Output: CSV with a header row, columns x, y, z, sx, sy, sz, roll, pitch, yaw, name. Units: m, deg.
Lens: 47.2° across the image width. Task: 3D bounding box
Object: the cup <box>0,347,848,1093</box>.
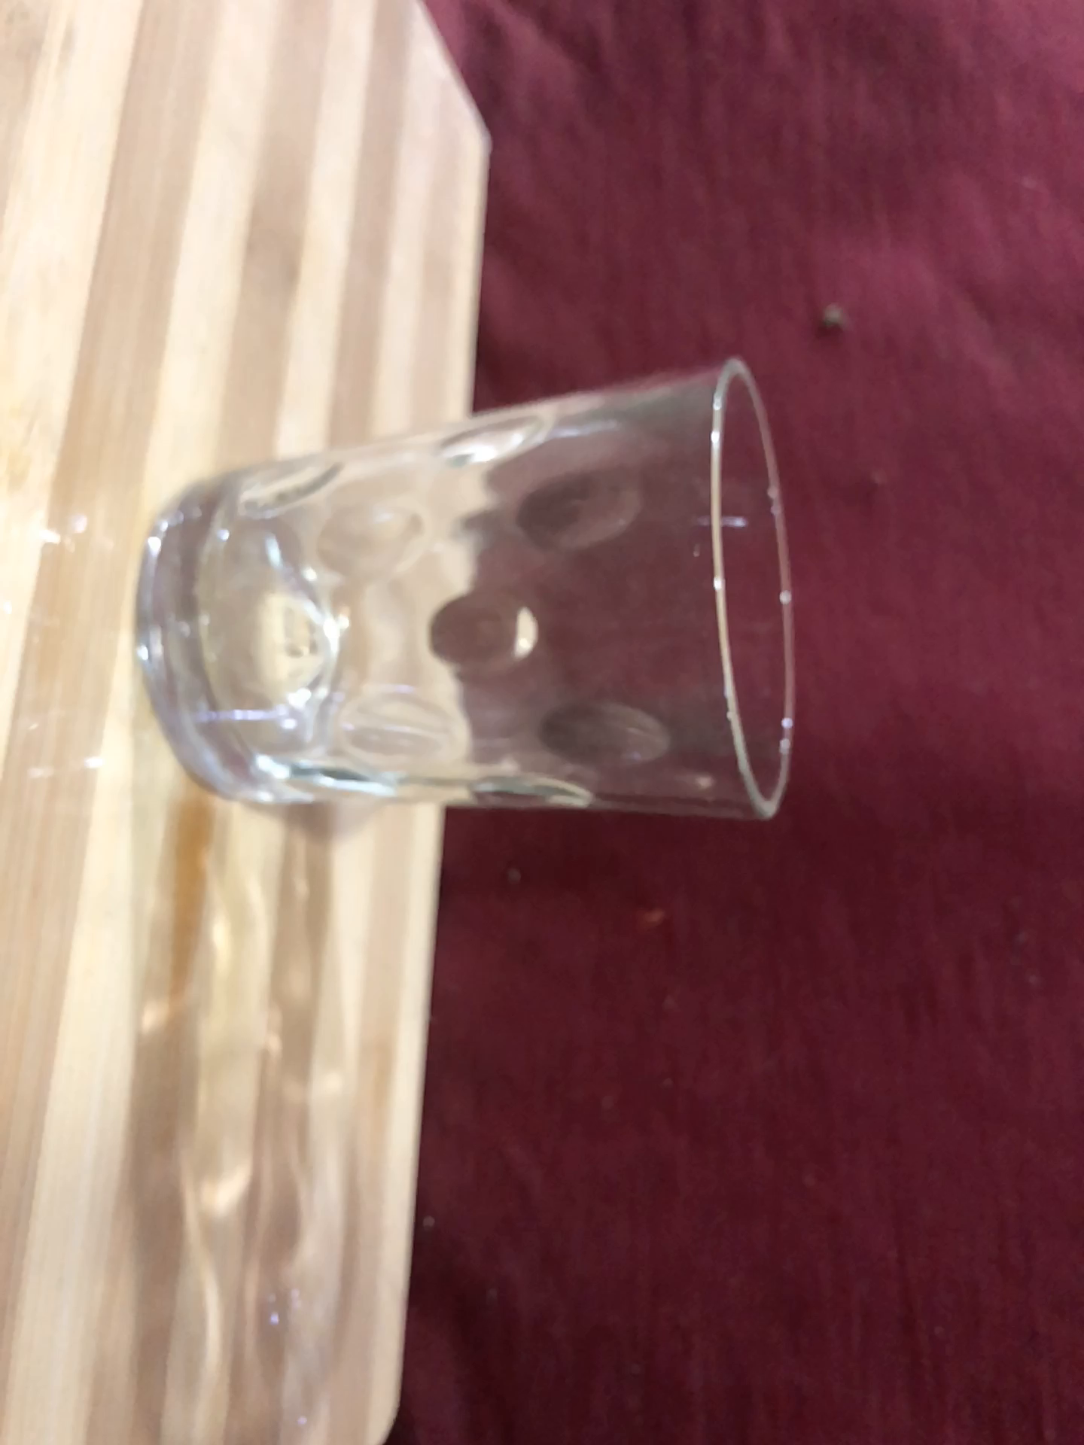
x,y,z,sx,sy,sz,roll,pitch,yaw,name
-0.009,-0.005,0.231,0.100,0.119,0.100,-3,90,-74,cup
